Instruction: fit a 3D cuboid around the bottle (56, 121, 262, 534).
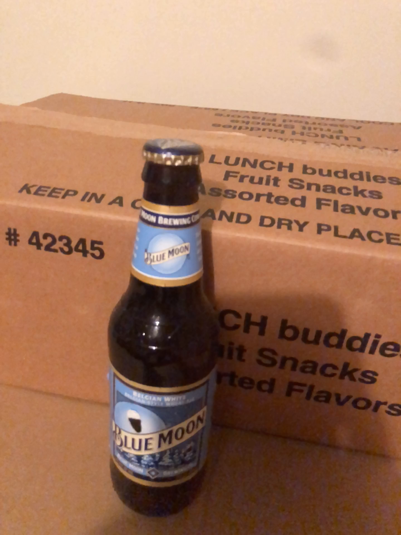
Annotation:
[{"bbox_3d":[-0.017,0.042,0.227,0.070,0.209,0.060,5,30,3],"label":"bottle"}]
